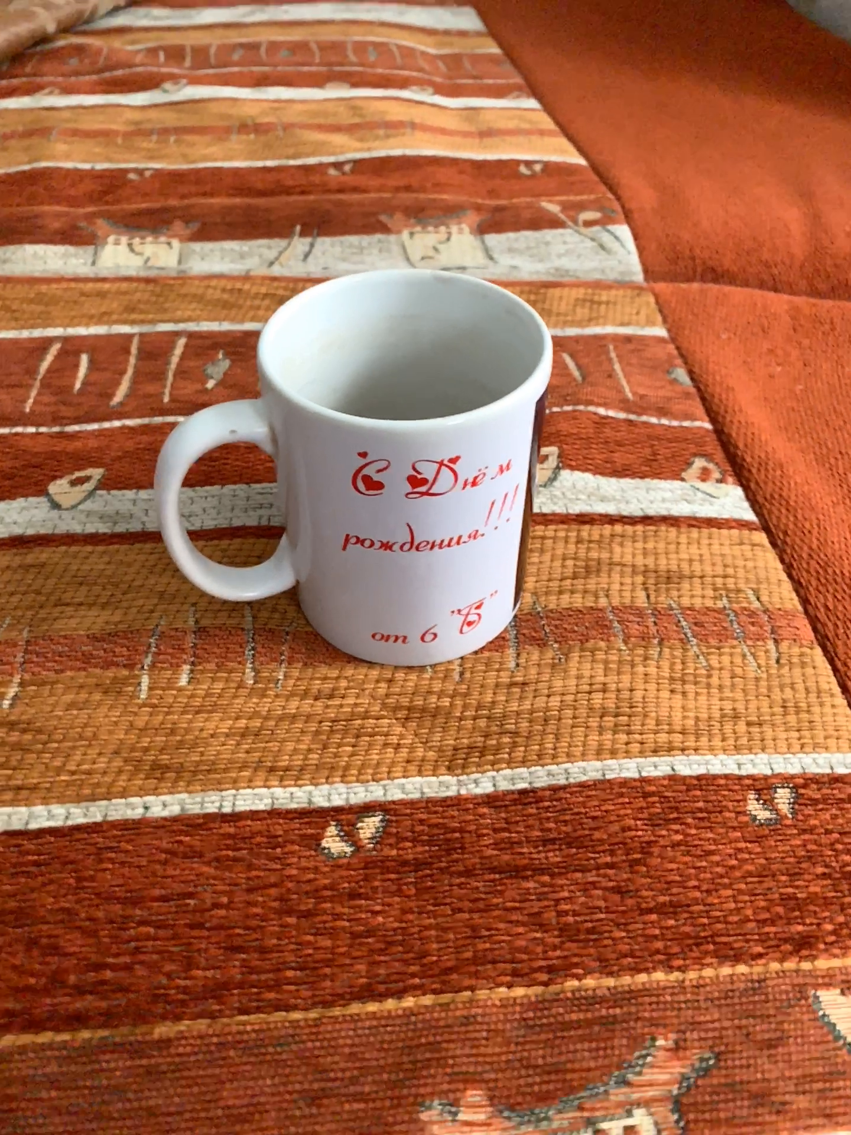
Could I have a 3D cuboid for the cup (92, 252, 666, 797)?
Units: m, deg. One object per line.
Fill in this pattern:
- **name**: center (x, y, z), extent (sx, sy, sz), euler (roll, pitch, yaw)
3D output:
- **cup**: center (-0.015, -0.014, 0.228), extent (0.110, 0.089, 0.081), euler (-13, 45, -13)
